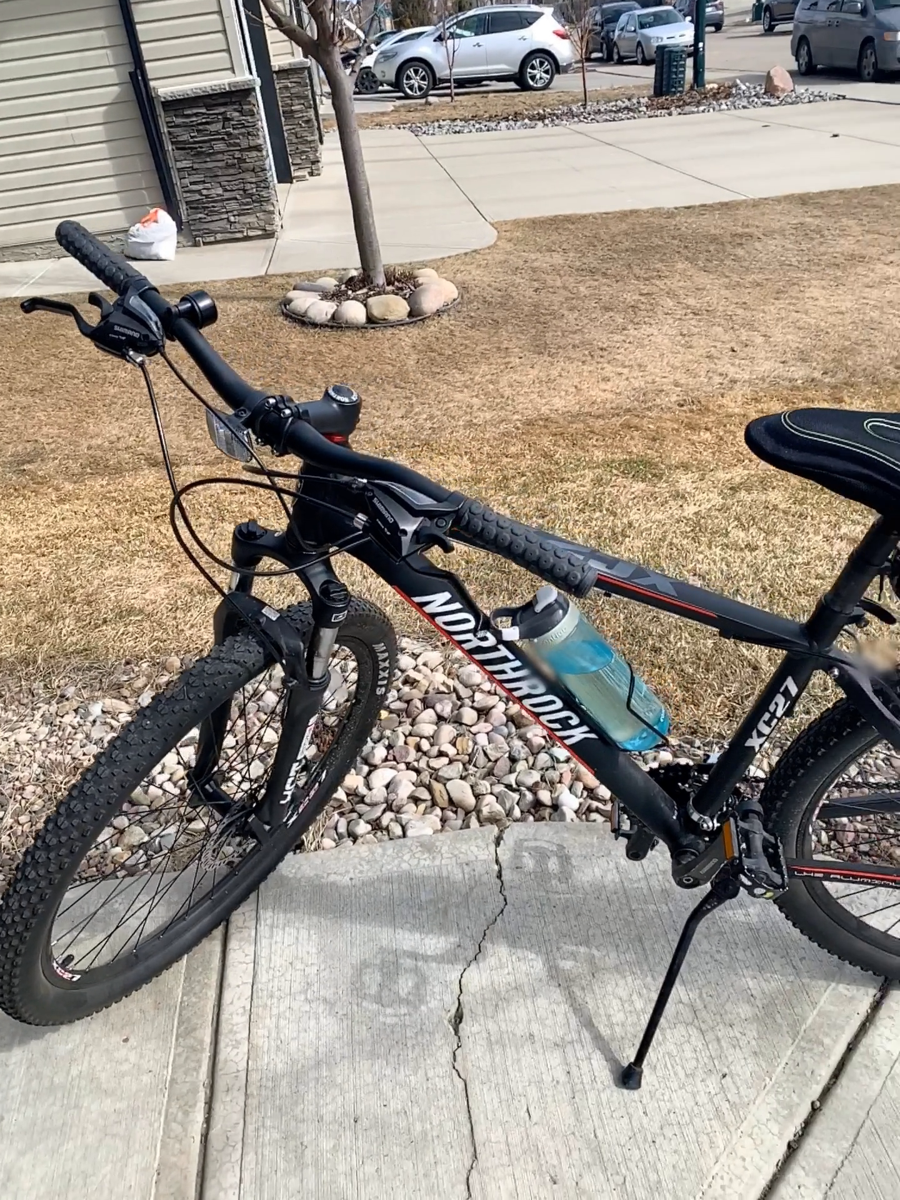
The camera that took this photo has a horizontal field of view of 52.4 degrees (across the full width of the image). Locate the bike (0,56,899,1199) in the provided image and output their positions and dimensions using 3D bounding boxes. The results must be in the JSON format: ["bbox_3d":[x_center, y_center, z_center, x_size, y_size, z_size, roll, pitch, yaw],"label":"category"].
[{"bbox_3d":[0.197,0.190,0.943,1.478,1.005,0.603,-6,31,8],"label":"bike"}]
